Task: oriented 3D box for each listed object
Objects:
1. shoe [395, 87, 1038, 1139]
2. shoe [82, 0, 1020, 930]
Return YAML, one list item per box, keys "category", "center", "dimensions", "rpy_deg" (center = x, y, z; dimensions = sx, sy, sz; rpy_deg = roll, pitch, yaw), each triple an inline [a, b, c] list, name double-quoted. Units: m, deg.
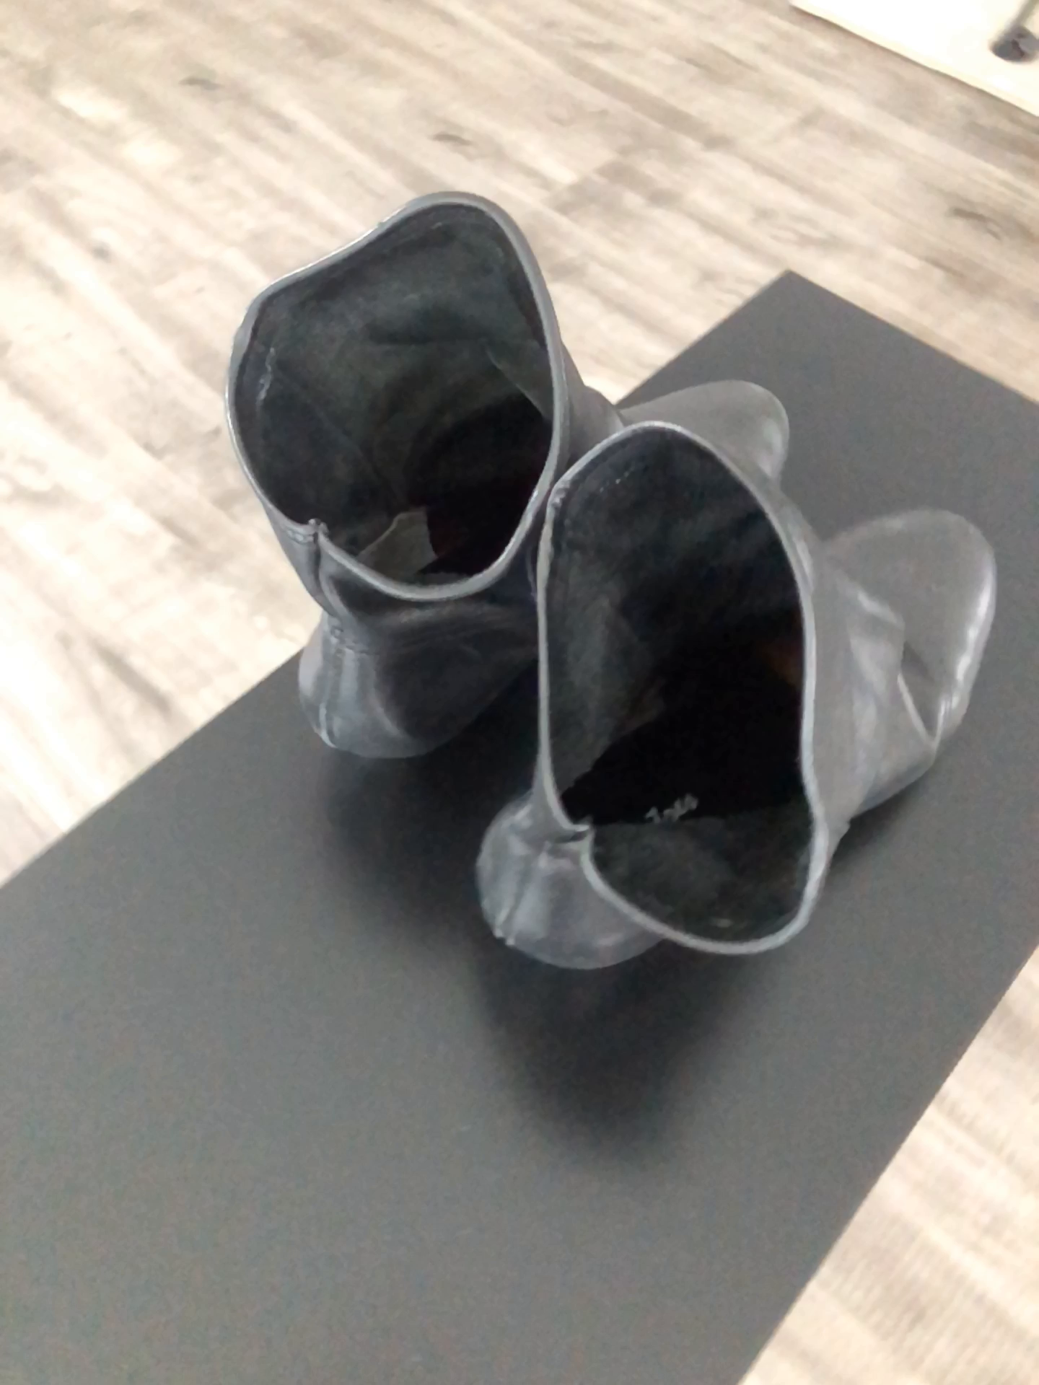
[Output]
- category: "shoe"
  center: [0.092, -0.025, 0.331]
  dimensions: [0.101, 0.170, 0.250]
  rpy_deg: [36, 61, 21]
- category: "shoe"
  center: [0.022, -0.081, 0.368]
  dimensions: [0.101, 0.170, 0.260]
  rpy_deg: [36, 61, 21]
